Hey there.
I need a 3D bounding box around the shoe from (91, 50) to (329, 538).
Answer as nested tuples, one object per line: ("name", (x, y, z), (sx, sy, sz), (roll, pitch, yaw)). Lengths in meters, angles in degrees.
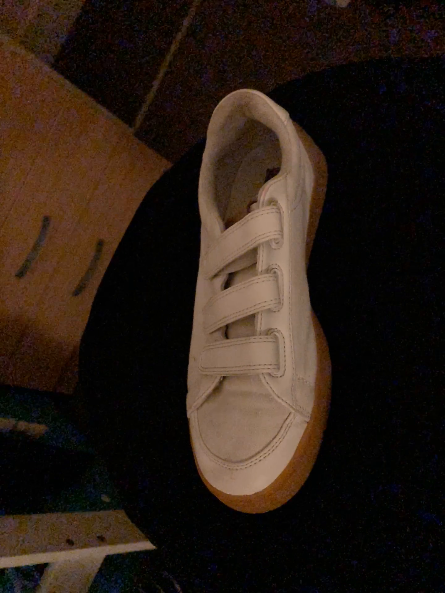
("shoe", (0.003, -0.005, 0.284), (0.096, 0.079, 0.255), (-10, 66, 37))
